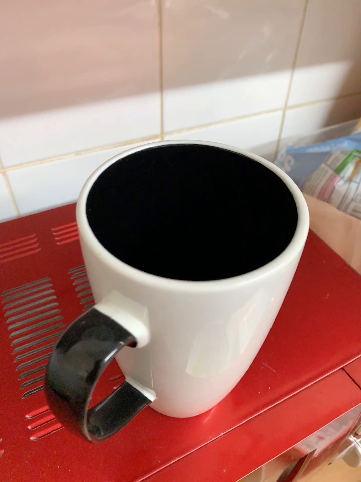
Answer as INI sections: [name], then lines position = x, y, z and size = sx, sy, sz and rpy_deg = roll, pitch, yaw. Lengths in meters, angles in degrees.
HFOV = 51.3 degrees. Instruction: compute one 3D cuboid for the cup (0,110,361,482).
[cup]
position = -0.004, 0.032, 0.185
size = 0.131, 0.129, 0.090
rpy_deg = -34, 54, -31
